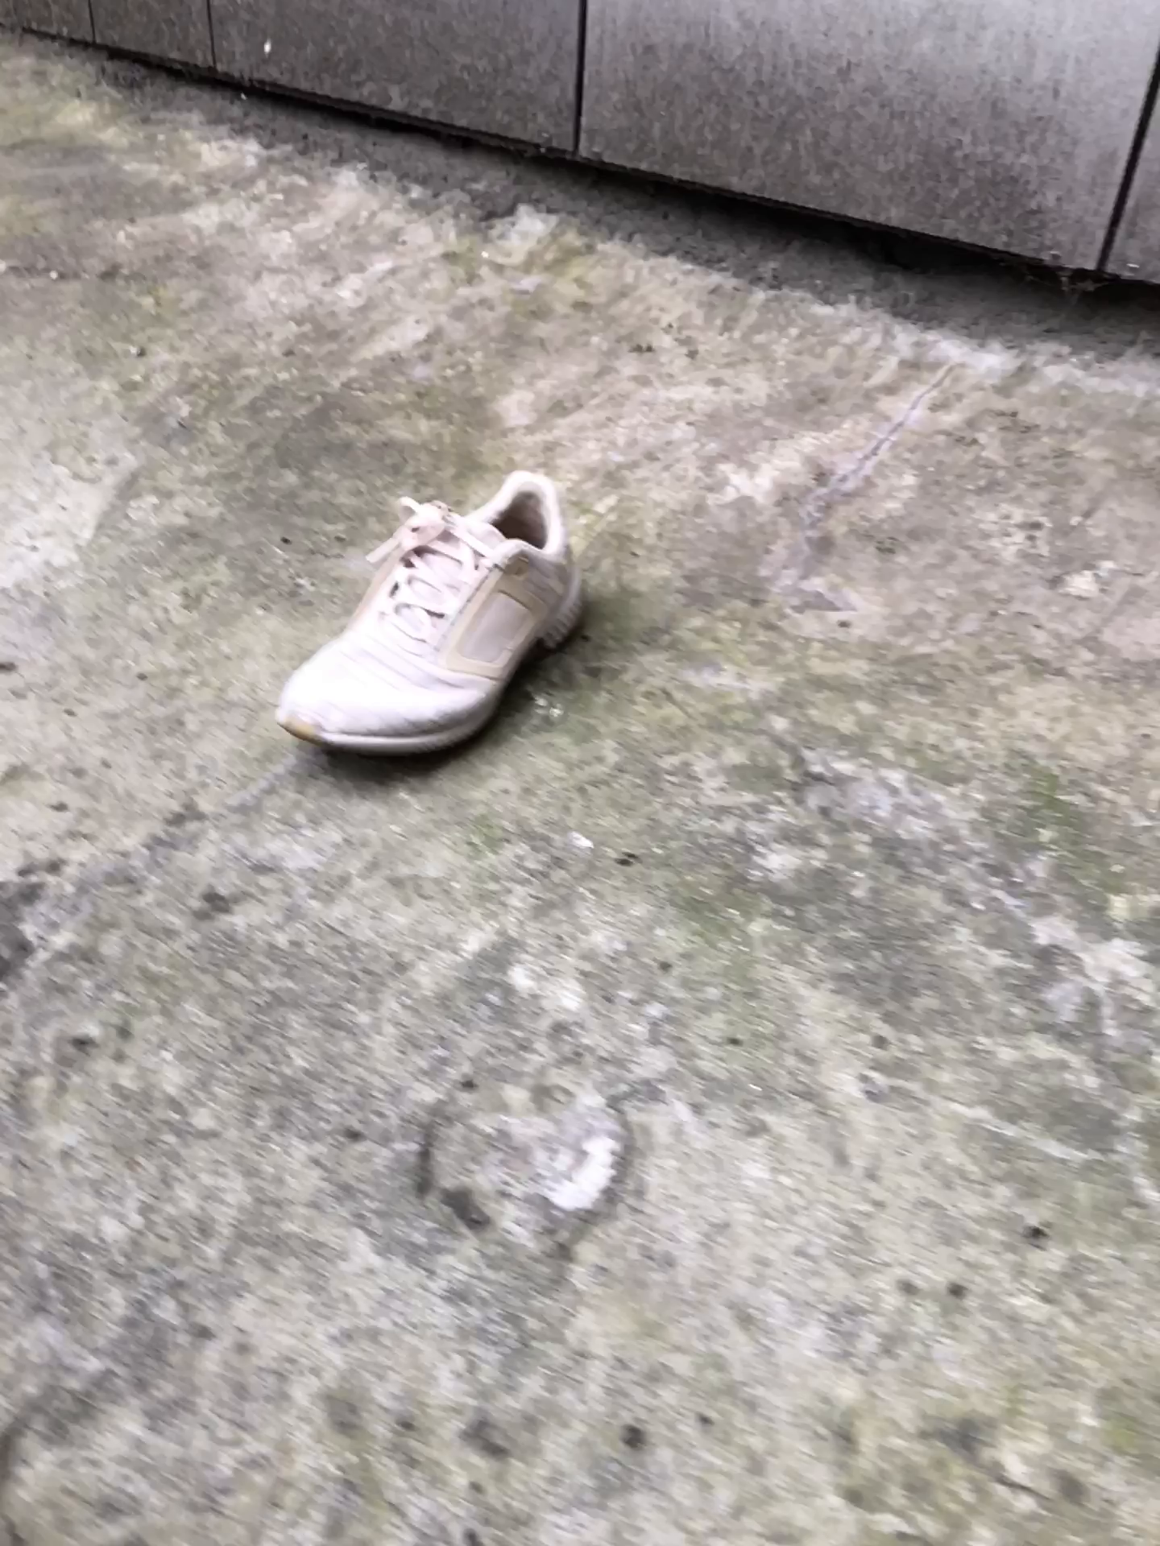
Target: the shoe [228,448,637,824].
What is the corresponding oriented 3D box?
[{"bbox_3d":[-0.088,-0.109,0.881,0.120,0.109,0.302,21,41,21],"label":"shoe"}]
